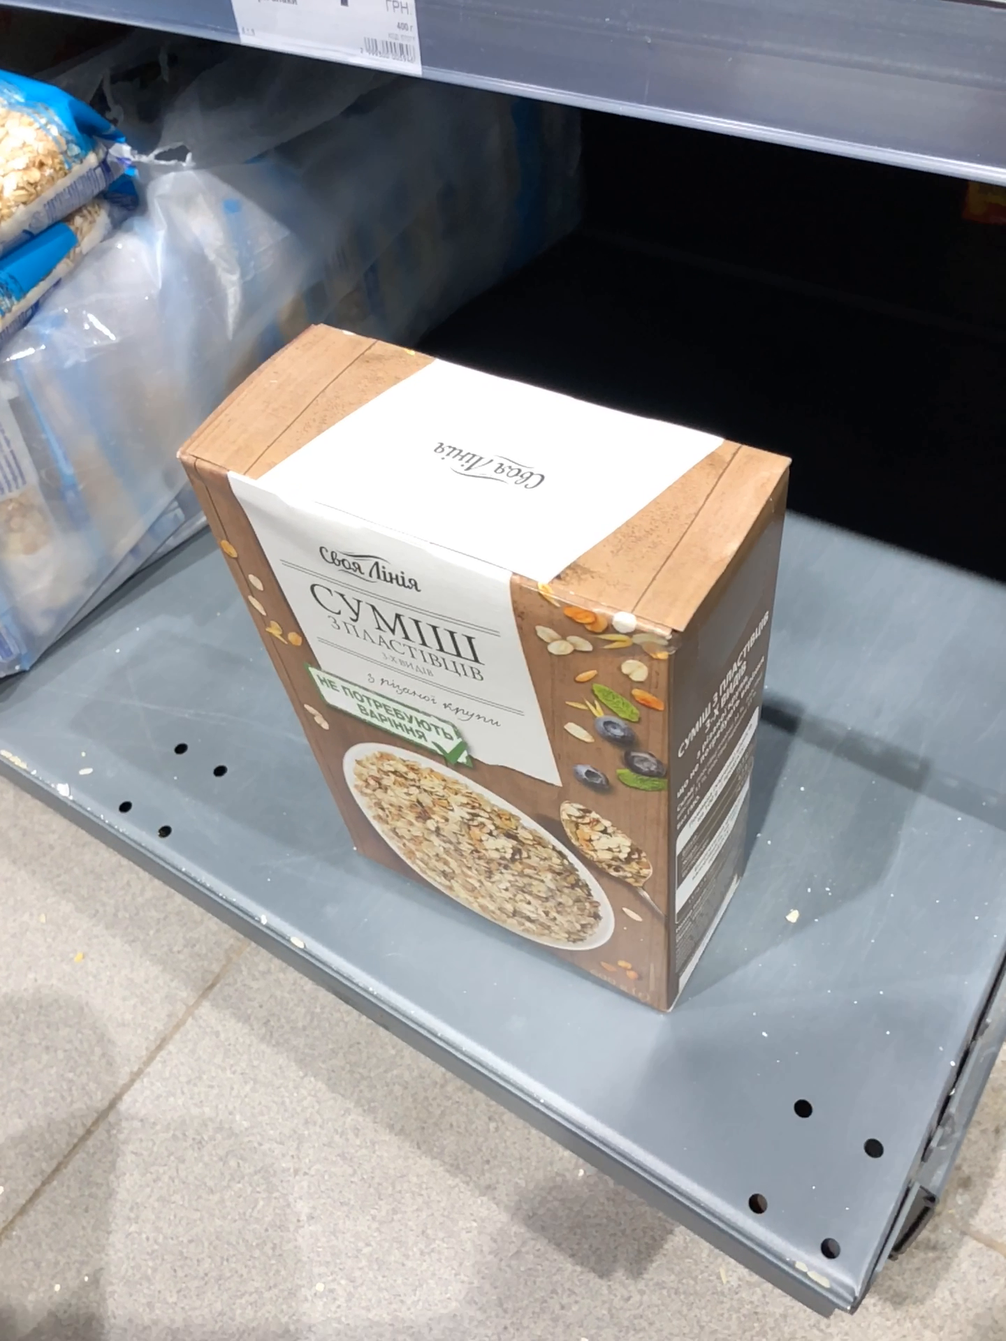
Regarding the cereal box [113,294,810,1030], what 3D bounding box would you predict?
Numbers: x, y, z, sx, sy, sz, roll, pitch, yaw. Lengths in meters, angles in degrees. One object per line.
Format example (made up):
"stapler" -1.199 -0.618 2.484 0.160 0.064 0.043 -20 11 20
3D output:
"cereal box" -0.003 0.009 0.346 0.160 0.208 0.060 22 58 24
